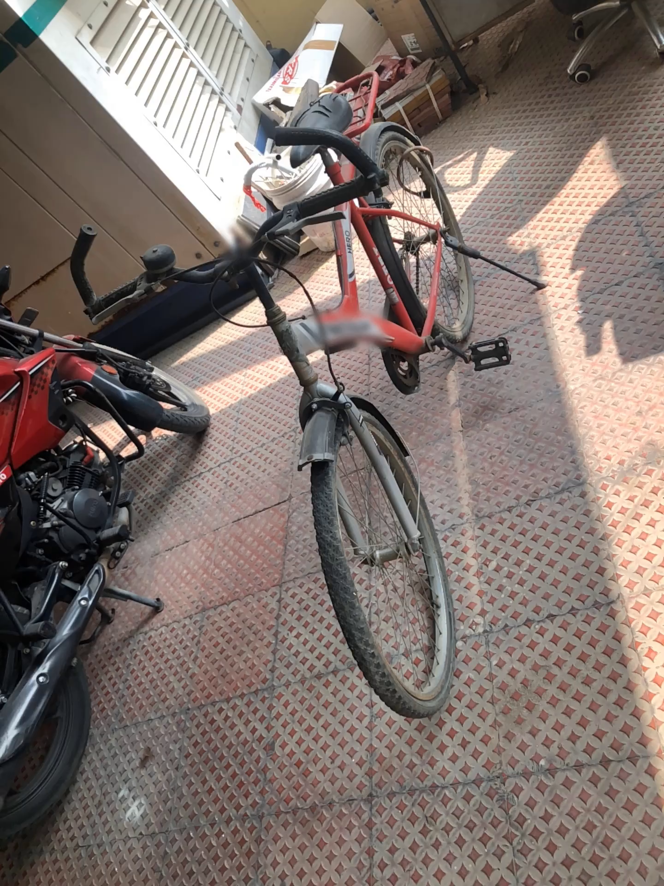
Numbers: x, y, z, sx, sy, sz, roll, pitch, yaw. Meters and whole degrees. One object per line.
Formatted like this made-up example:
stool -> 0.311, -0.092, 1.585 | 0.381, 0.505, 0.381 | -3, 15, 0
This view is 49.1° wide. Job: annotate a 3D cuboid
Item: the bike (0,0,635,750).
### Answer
bike -> 0.117, -0.302, 1.616 | 0.576, 0.963, 1.616 | -19, 43, 31
